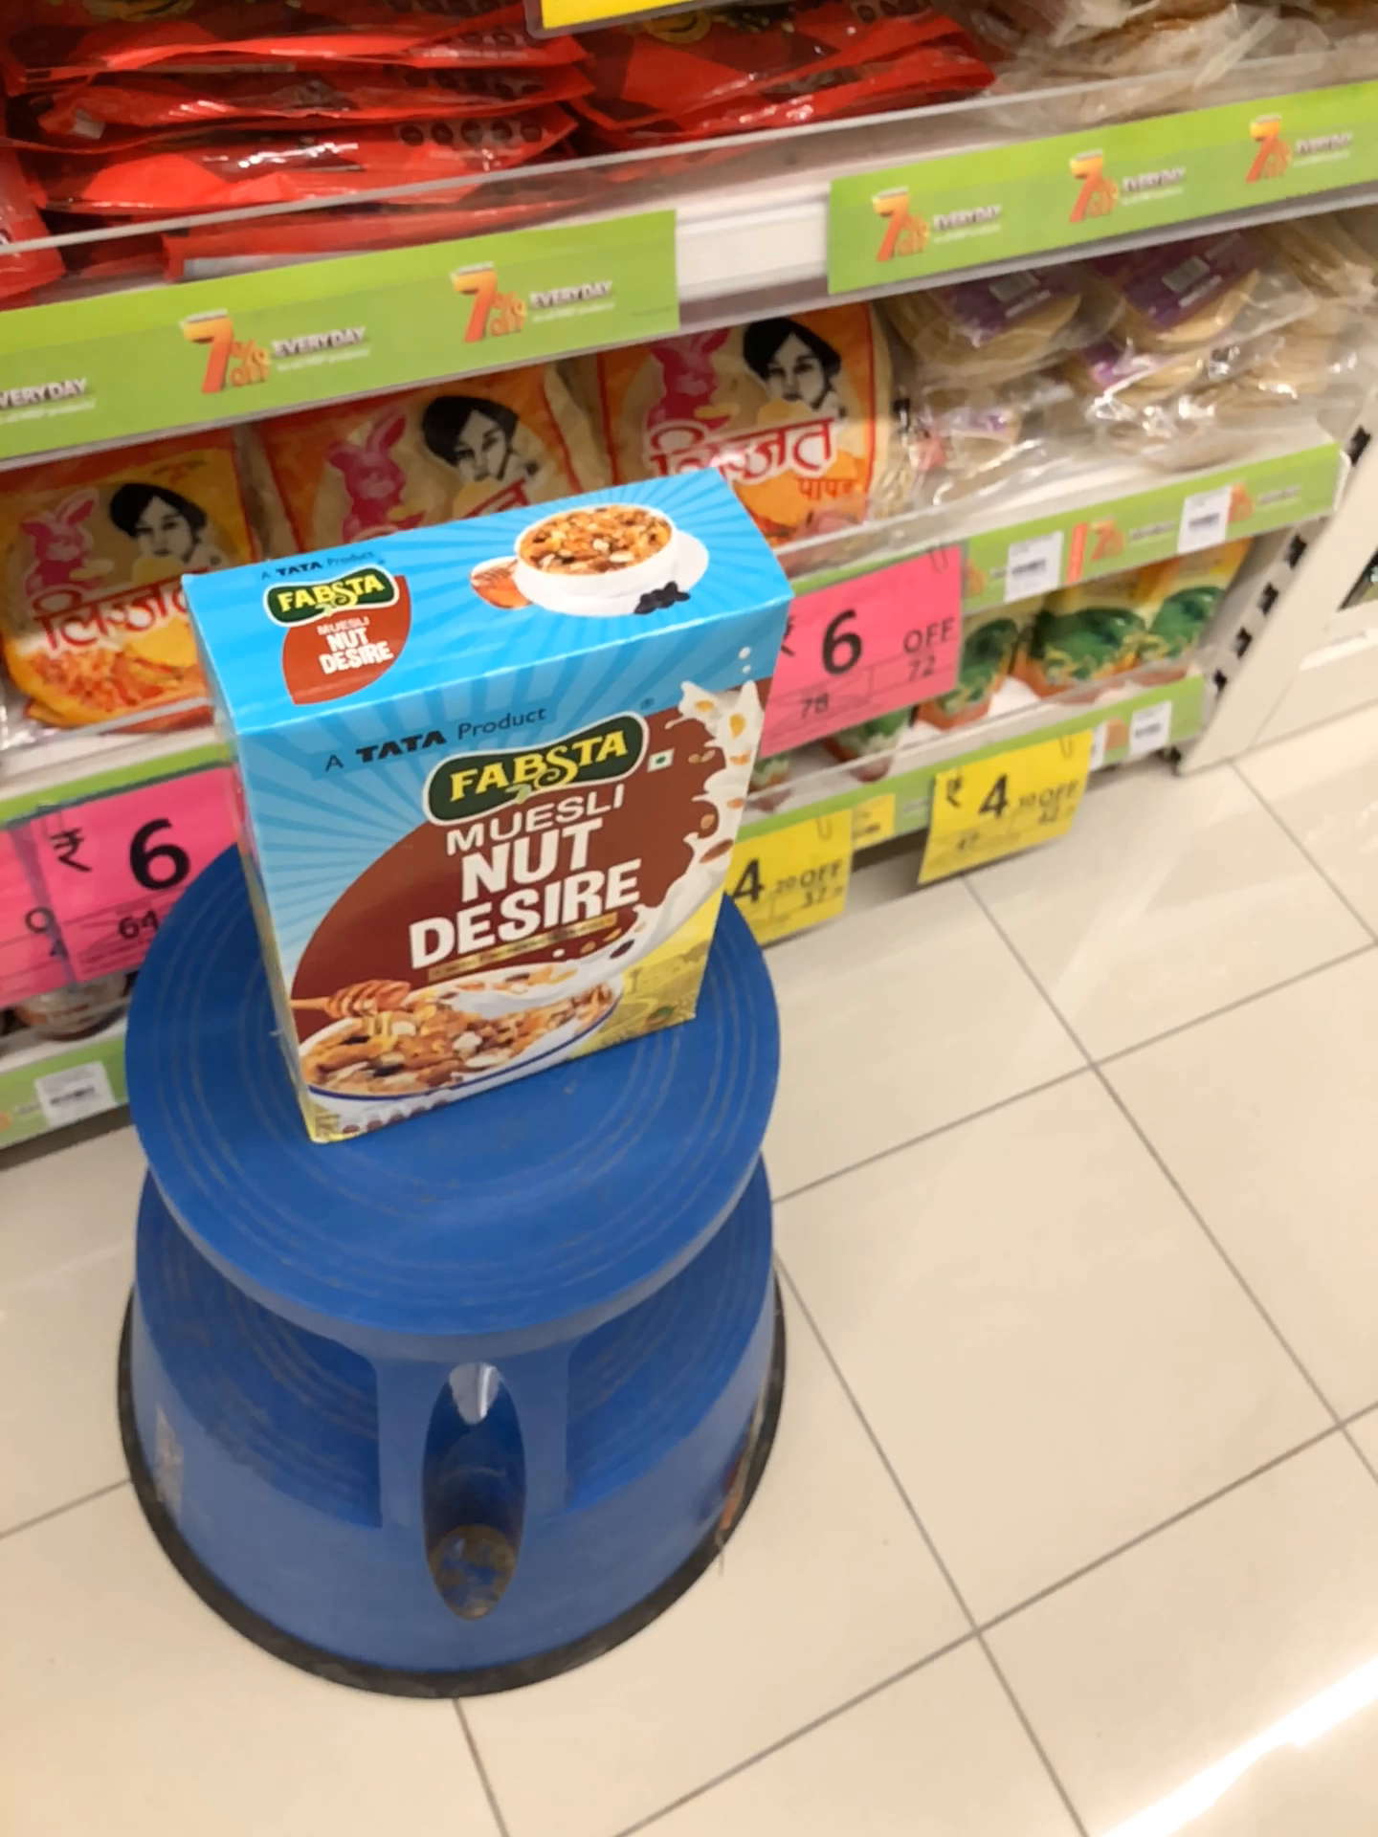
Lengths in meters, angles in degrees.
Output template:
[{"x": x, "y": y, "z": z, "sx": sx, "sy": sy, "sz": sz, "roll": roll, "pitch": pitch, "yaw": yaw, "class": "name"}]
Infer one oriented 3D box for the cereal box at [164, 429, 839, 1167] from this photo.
[{"x": -0.064, "y": -0.027, "z": 0.522, "sx": 0.170, "sy": 0.249, "sz": 0.070, "roll": -18, "pitch": 61, "yaw": -19, "class": "cereal box"}]
